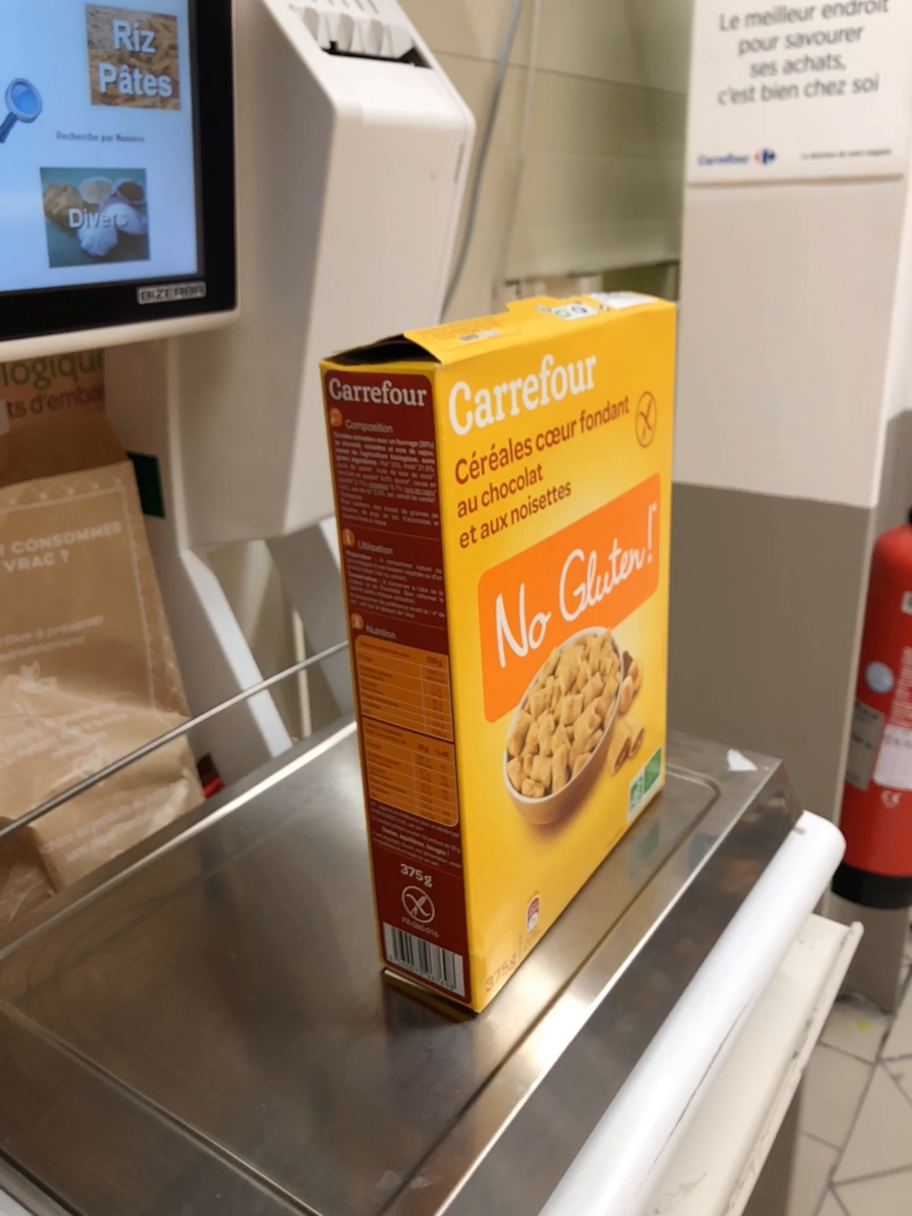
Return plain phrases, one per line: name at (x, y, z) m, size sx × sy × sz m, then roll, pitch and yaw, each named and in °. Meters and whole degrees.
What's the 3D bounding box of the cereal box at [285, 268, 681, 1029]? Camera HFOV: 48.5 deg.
cereal box at (0.029, 0.000, 0.441) m, size 0.060 × 0.269 × 0.201 m, roll 10°, pitch 24°, yaw 31°
